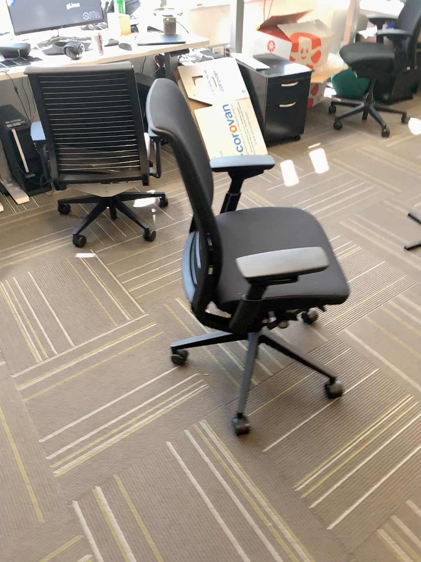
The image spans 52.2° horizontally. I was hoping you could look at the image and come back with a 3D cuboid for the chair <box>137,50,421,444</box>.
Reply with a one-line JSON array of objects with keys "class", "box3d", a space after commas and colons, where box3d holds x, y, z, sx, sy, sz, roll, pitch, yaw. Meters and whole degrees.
[{"class": "chair", "box3d": [0.156, -0.108, 1.418, 0.670, 0.994, 0.755, -5, 41, -5]}]
